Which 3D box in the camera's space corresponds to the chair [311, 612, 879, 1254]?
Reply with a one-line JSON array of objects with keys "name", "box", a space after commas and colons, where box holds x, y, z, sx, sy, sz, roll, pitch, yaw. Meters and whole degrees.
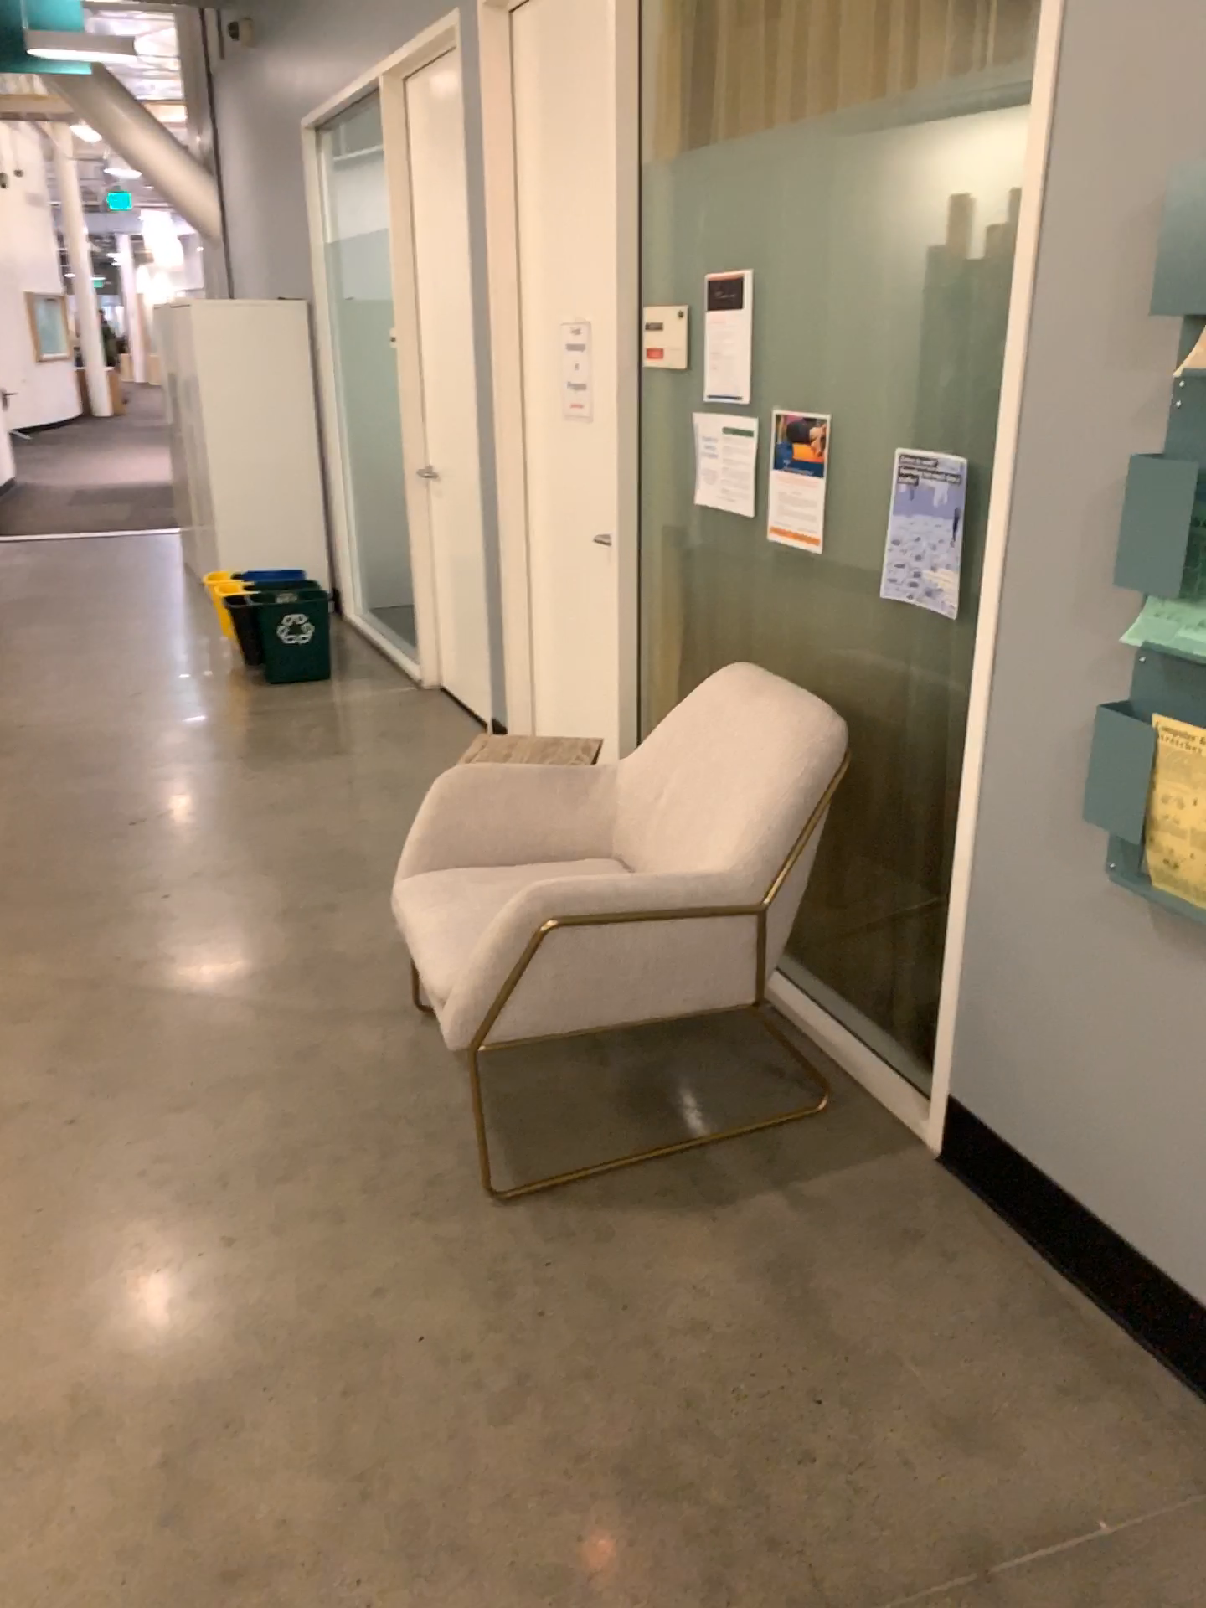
[{"name": "chair", "box": [-0.056, 0.181, 2.522, 0.870, 0.925, 0.784, -8, 22, -20]}]
